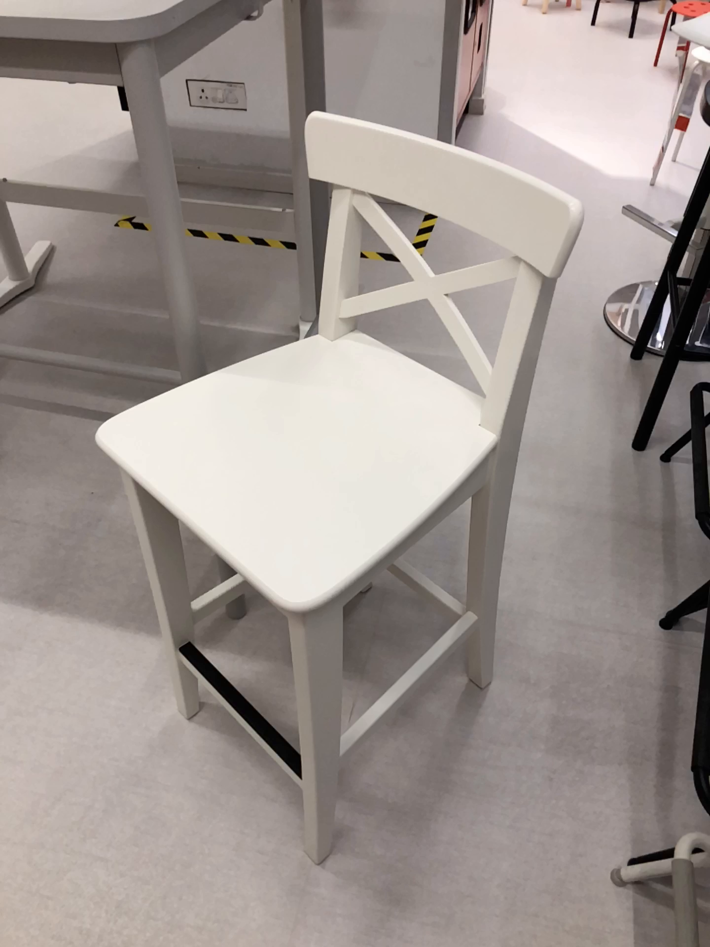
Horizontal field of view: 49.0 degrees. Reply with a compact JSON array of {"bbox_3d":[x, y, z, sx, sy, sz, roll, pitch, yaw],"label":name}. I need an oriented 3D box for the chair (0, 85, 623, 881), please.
[{"bbox_3d":[-0.048,0.044,0.996,0.421,0.835,0.422,-34,52,-30],"label":"chair"}]
